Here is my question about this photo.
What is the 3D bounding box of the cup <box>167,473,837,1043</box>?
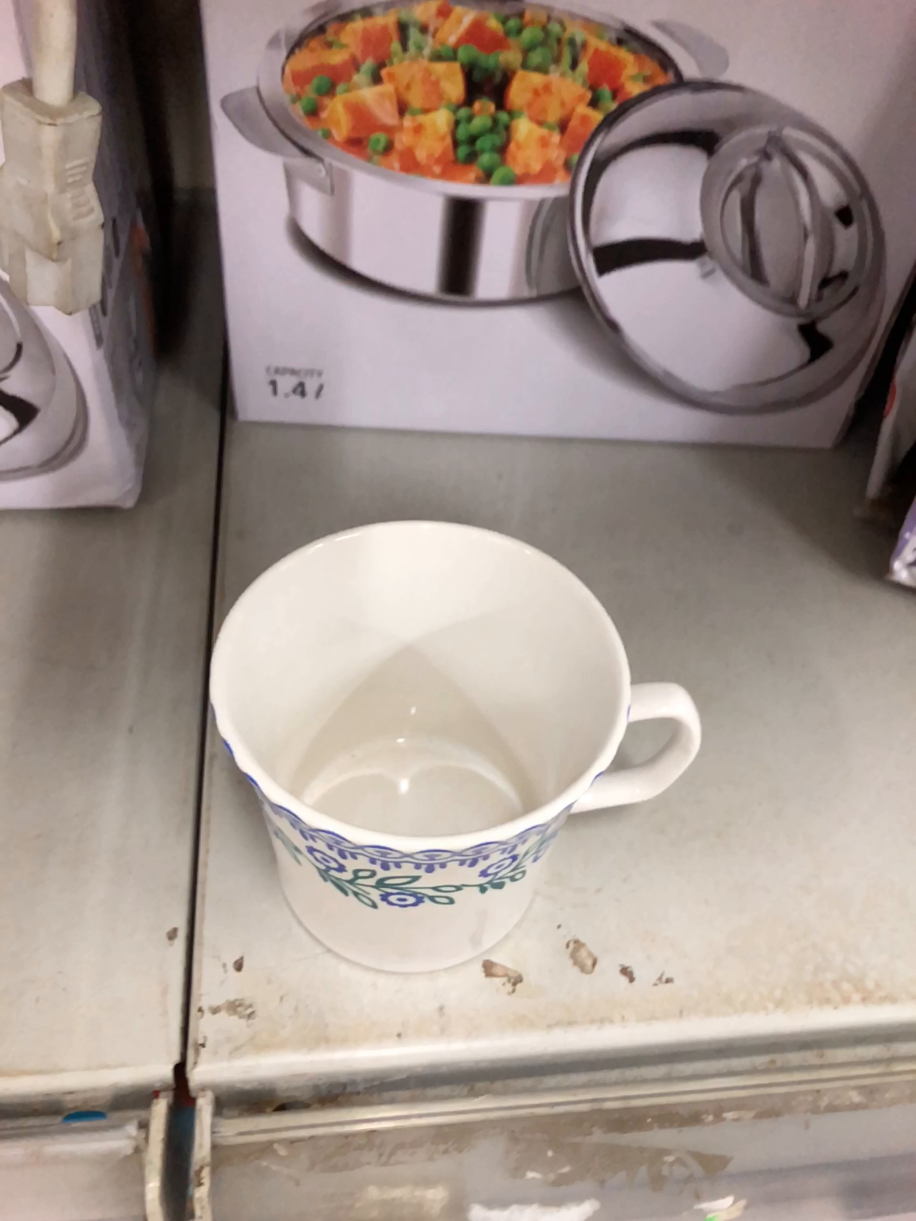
[{"bbox_3d":[0.001,0.027,0.200,0.100,0.070,0.070,-6,50,-12],"label":"cup"}]
